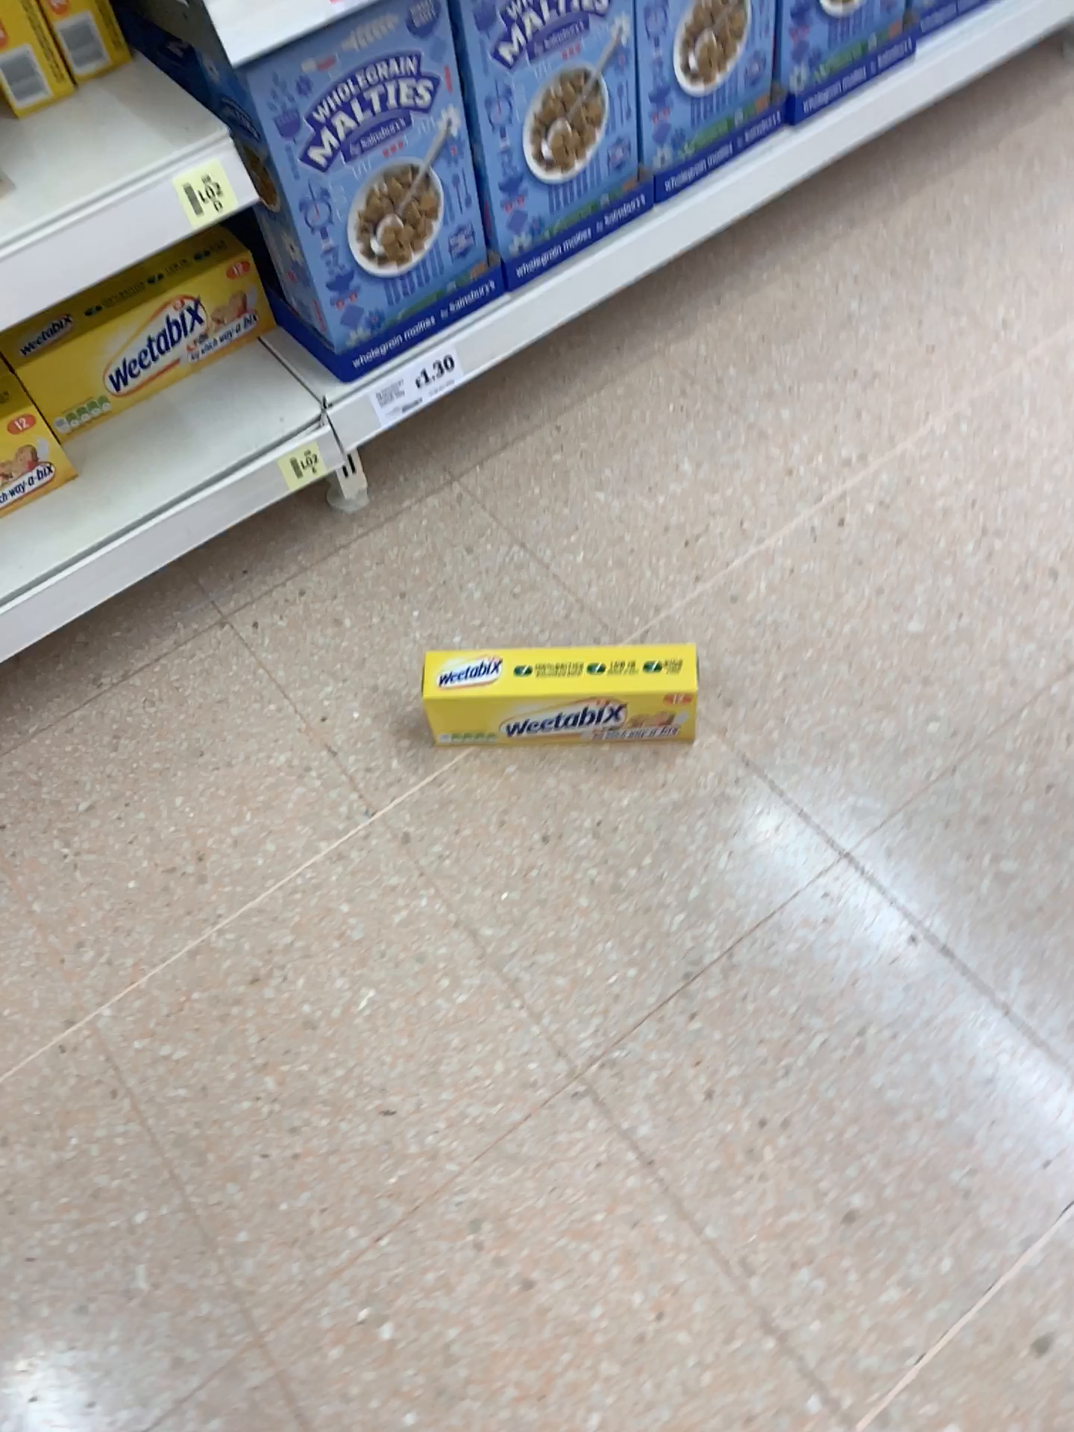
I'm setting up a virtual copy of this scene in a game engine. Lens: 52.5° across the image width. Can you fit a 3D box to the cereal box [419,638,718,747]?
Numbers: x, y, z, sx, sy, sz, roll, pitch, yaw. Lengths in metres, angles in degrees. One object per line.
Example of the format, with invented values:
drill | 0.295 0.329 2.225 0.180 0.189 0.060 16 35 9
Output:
cereal box | 0.031 -0.020 1.002 0.260 0.099 0.050 -1 59 5
